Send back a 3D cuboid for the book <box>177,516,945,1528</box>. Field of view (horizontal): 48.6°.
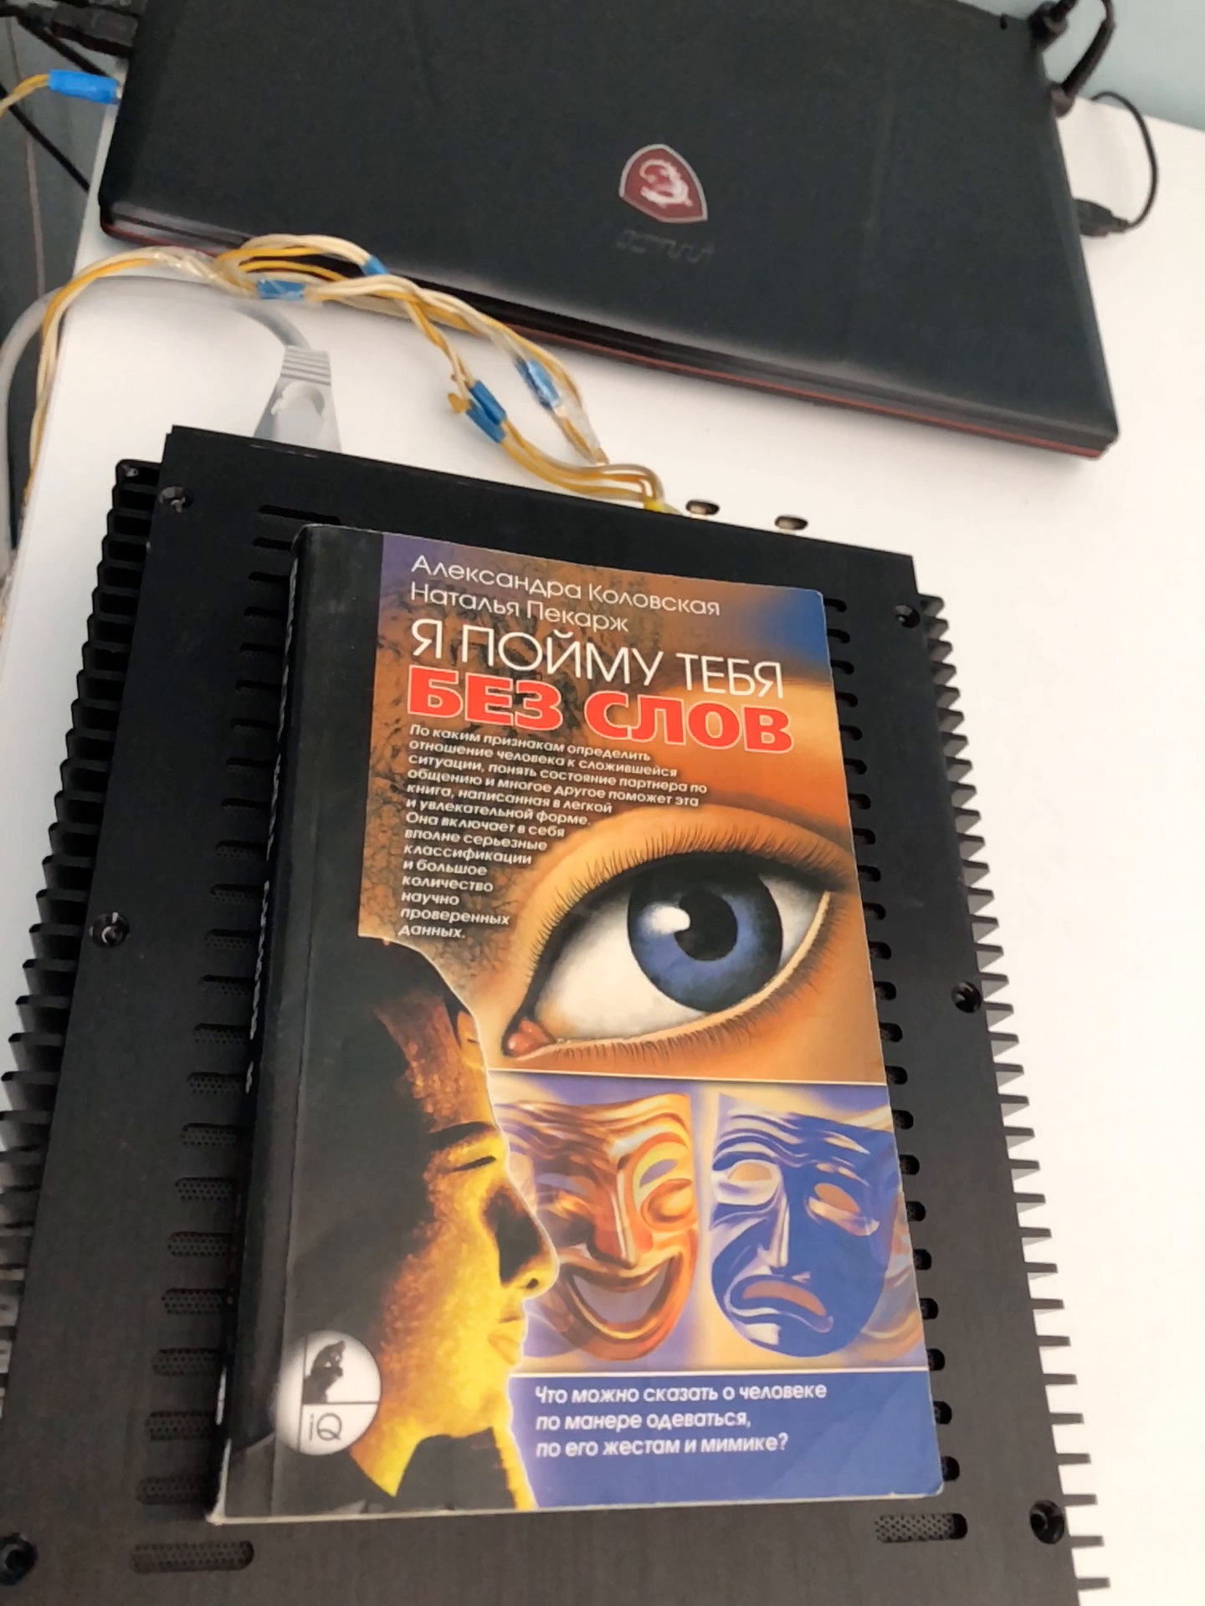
[{"bbox_3d":[-0.007,0.034,0.259,0.123,0.023,0.184,6,62,-14],"label":"book"}]
